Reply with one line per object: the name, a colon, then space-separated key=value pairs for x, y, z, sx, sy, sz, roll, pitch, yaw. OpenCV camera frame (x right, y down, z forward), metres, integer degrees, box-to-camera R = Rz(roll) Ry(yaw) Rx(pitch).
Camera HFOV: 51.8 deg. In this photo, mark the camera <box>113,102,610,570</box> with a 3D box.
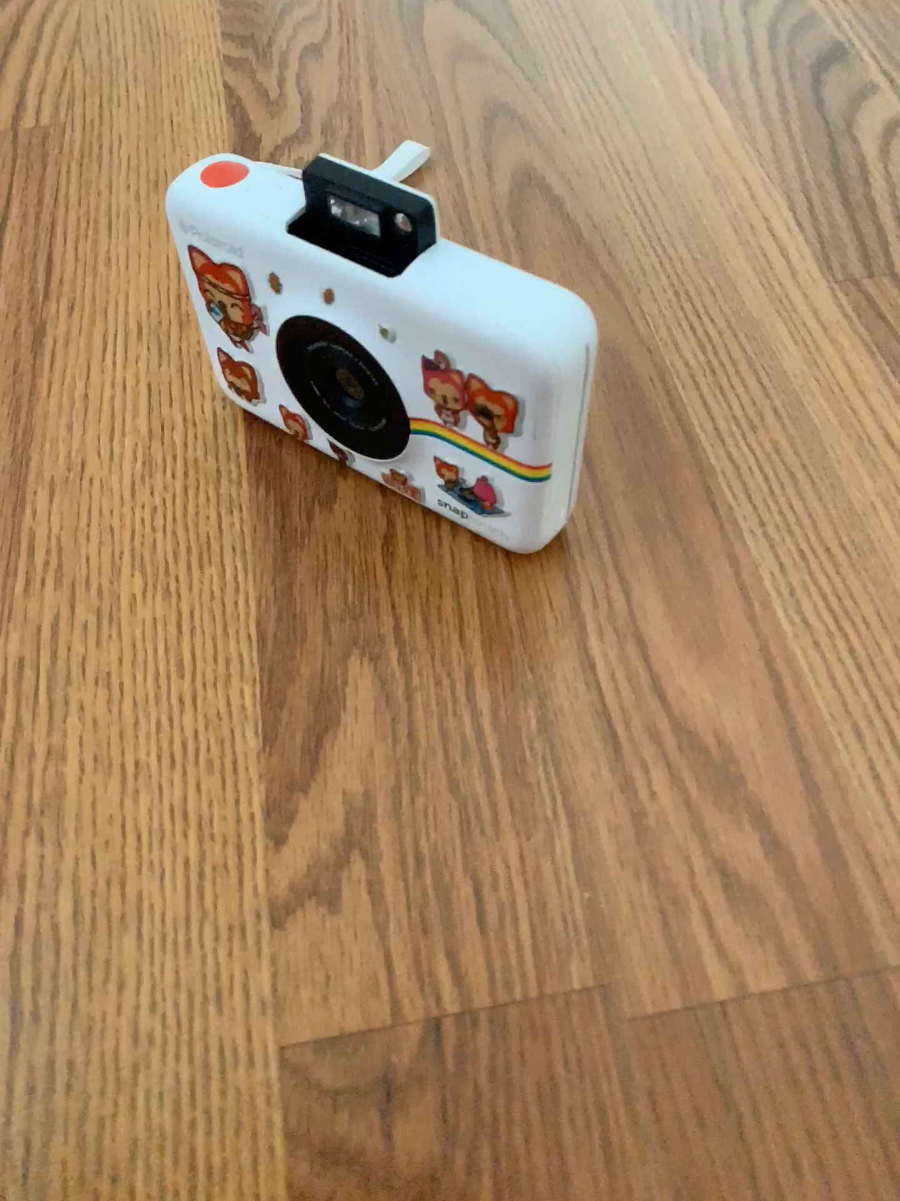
camera: x=-0.023 y=-0.069 z=0.246 sx=0.126 sy=0.081 sz=0.026 roll=29 pitch=62 yaw=21
